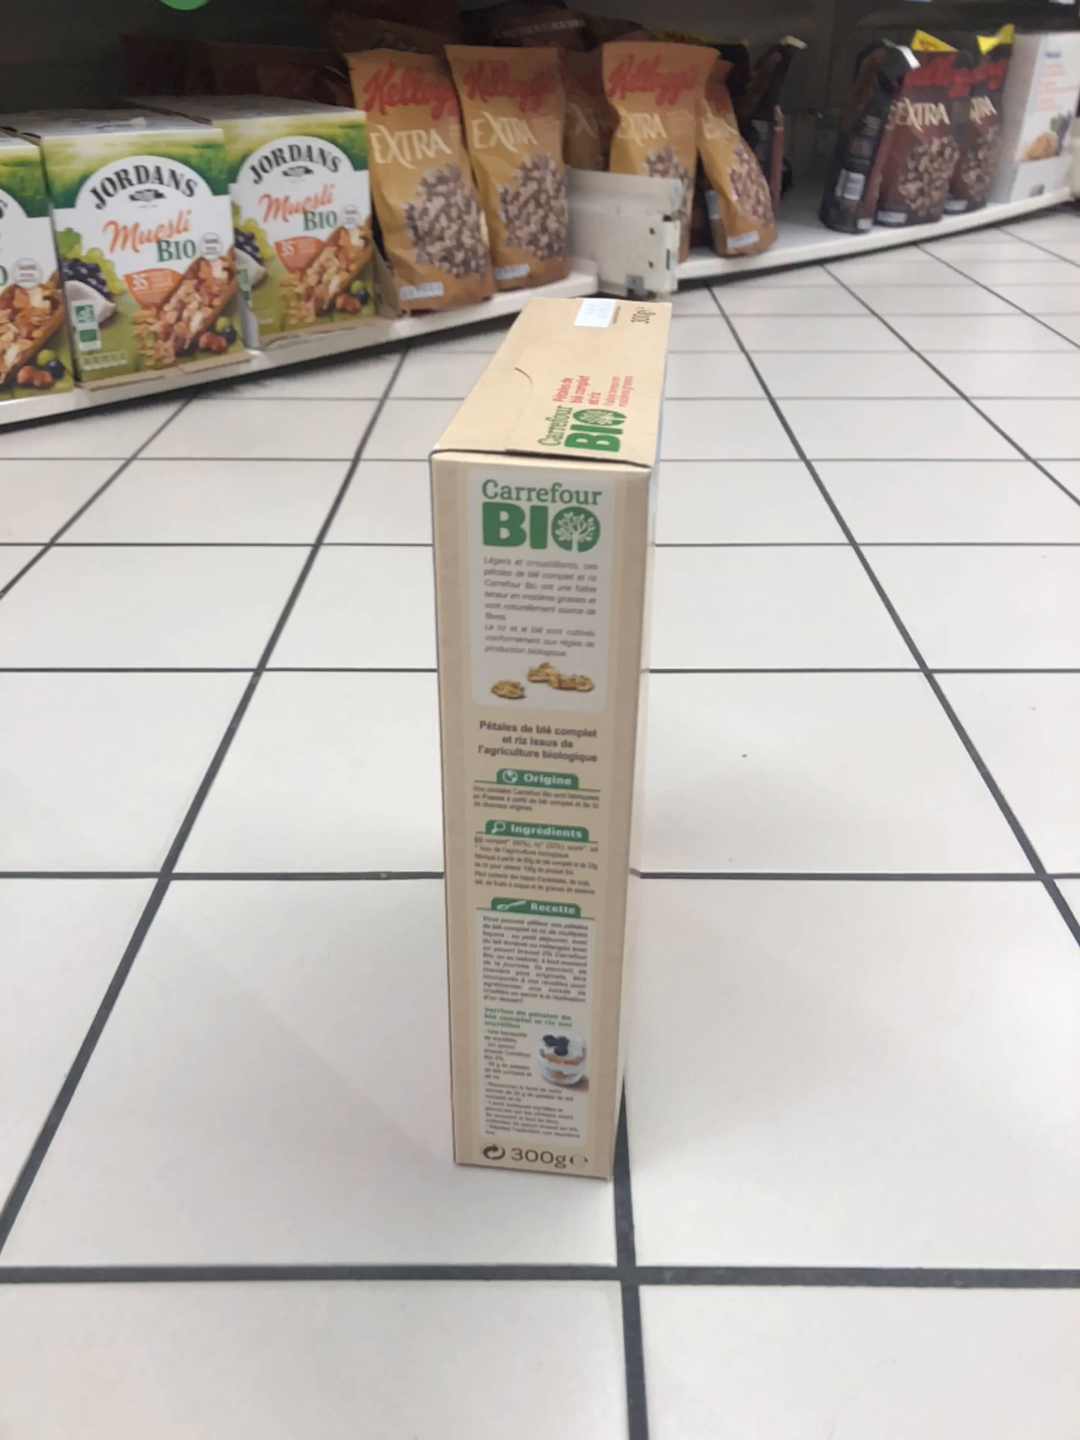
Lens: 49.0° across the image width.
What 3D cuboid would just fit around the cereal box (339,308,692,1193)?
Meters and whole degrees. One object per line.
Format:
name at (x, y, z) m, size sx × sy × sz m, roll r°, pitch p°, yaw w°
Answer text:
cereal box at (0.006, -0.003, 0.427) m, size 0.080 × 0.239 × 0.211 m, roll 3°, pitch 30°, yaw 6°
